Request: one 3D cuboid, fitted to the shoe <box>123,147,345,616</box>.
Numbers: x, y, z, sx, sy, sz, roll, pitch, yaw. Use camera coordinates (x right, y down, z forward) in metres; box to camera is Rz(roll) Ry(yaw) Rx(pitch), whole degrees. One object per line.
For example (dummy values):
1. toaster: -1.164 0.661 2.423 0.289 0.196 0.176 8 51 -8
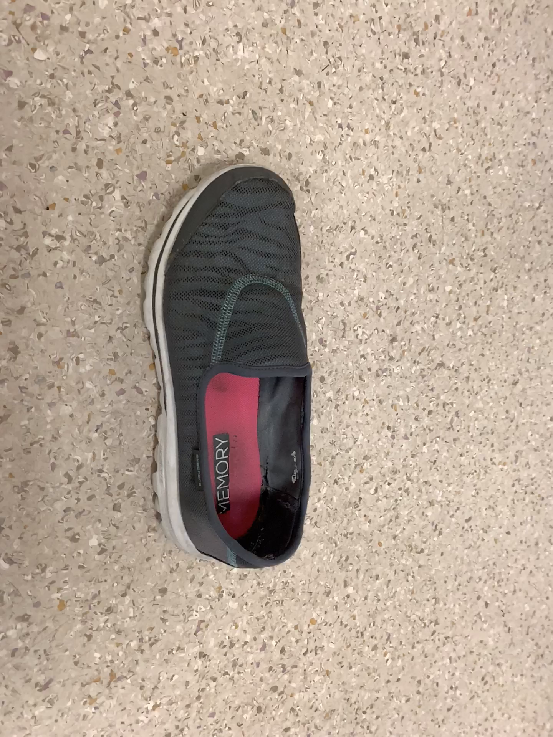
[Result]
1. shoe: -0.025 0.005 0.341 0.103 0.075 0.239 -6 102 -31
